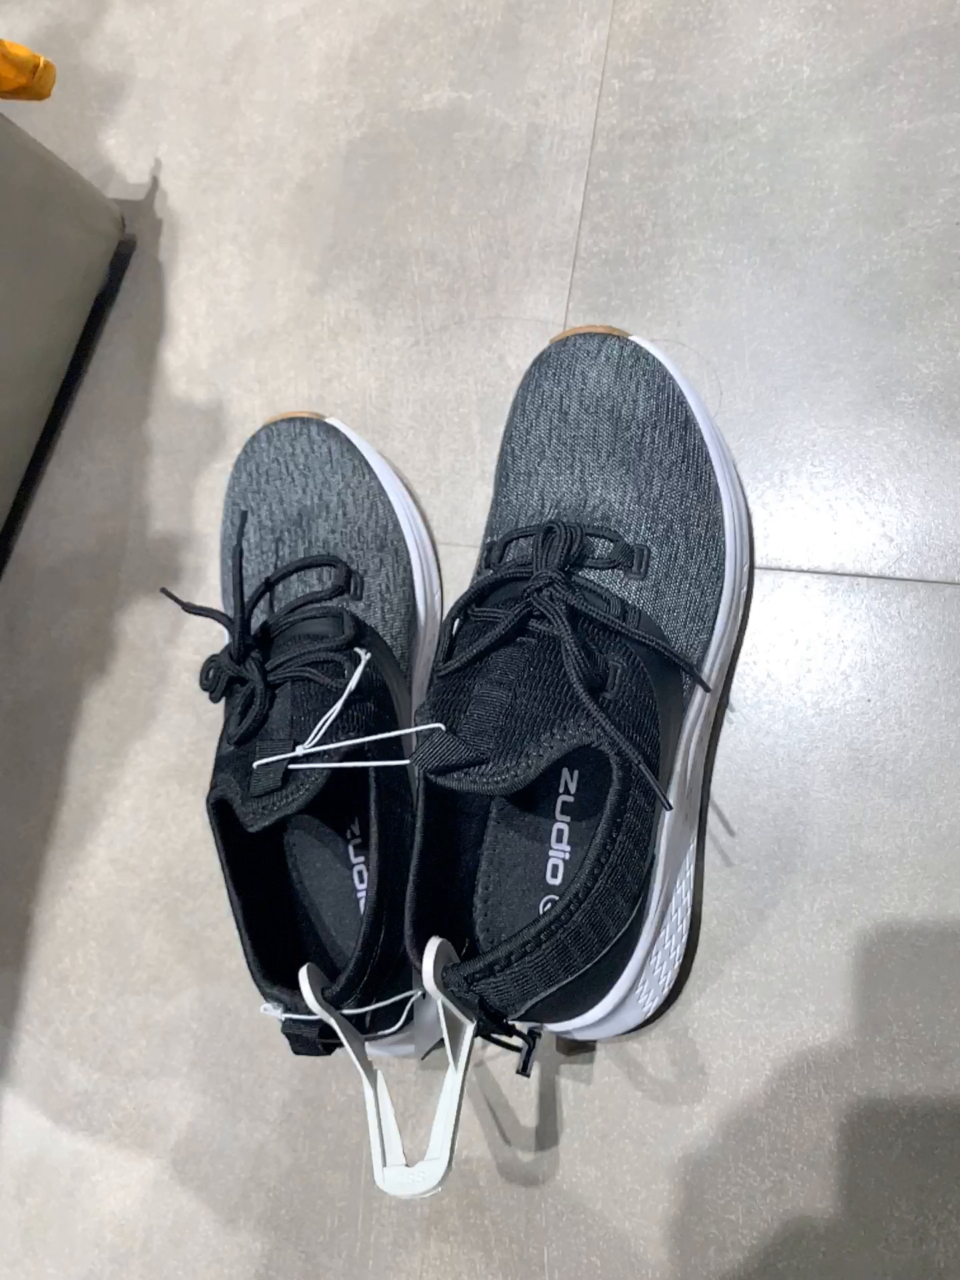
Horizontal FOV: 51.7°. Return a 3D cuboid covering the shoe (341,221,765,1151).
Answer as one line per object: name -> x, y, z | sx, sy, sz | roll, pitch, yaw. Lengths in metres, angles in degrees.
shoe -> 0.035, 0.011, 0.360 | 0.108, 0.096, 0.278 | 2, 83, 23

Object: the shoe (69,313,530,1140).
shoe -> -0.074, 0.032, 0.398 | 0.106, 0.096, 0.278 | -16, 76, 20
